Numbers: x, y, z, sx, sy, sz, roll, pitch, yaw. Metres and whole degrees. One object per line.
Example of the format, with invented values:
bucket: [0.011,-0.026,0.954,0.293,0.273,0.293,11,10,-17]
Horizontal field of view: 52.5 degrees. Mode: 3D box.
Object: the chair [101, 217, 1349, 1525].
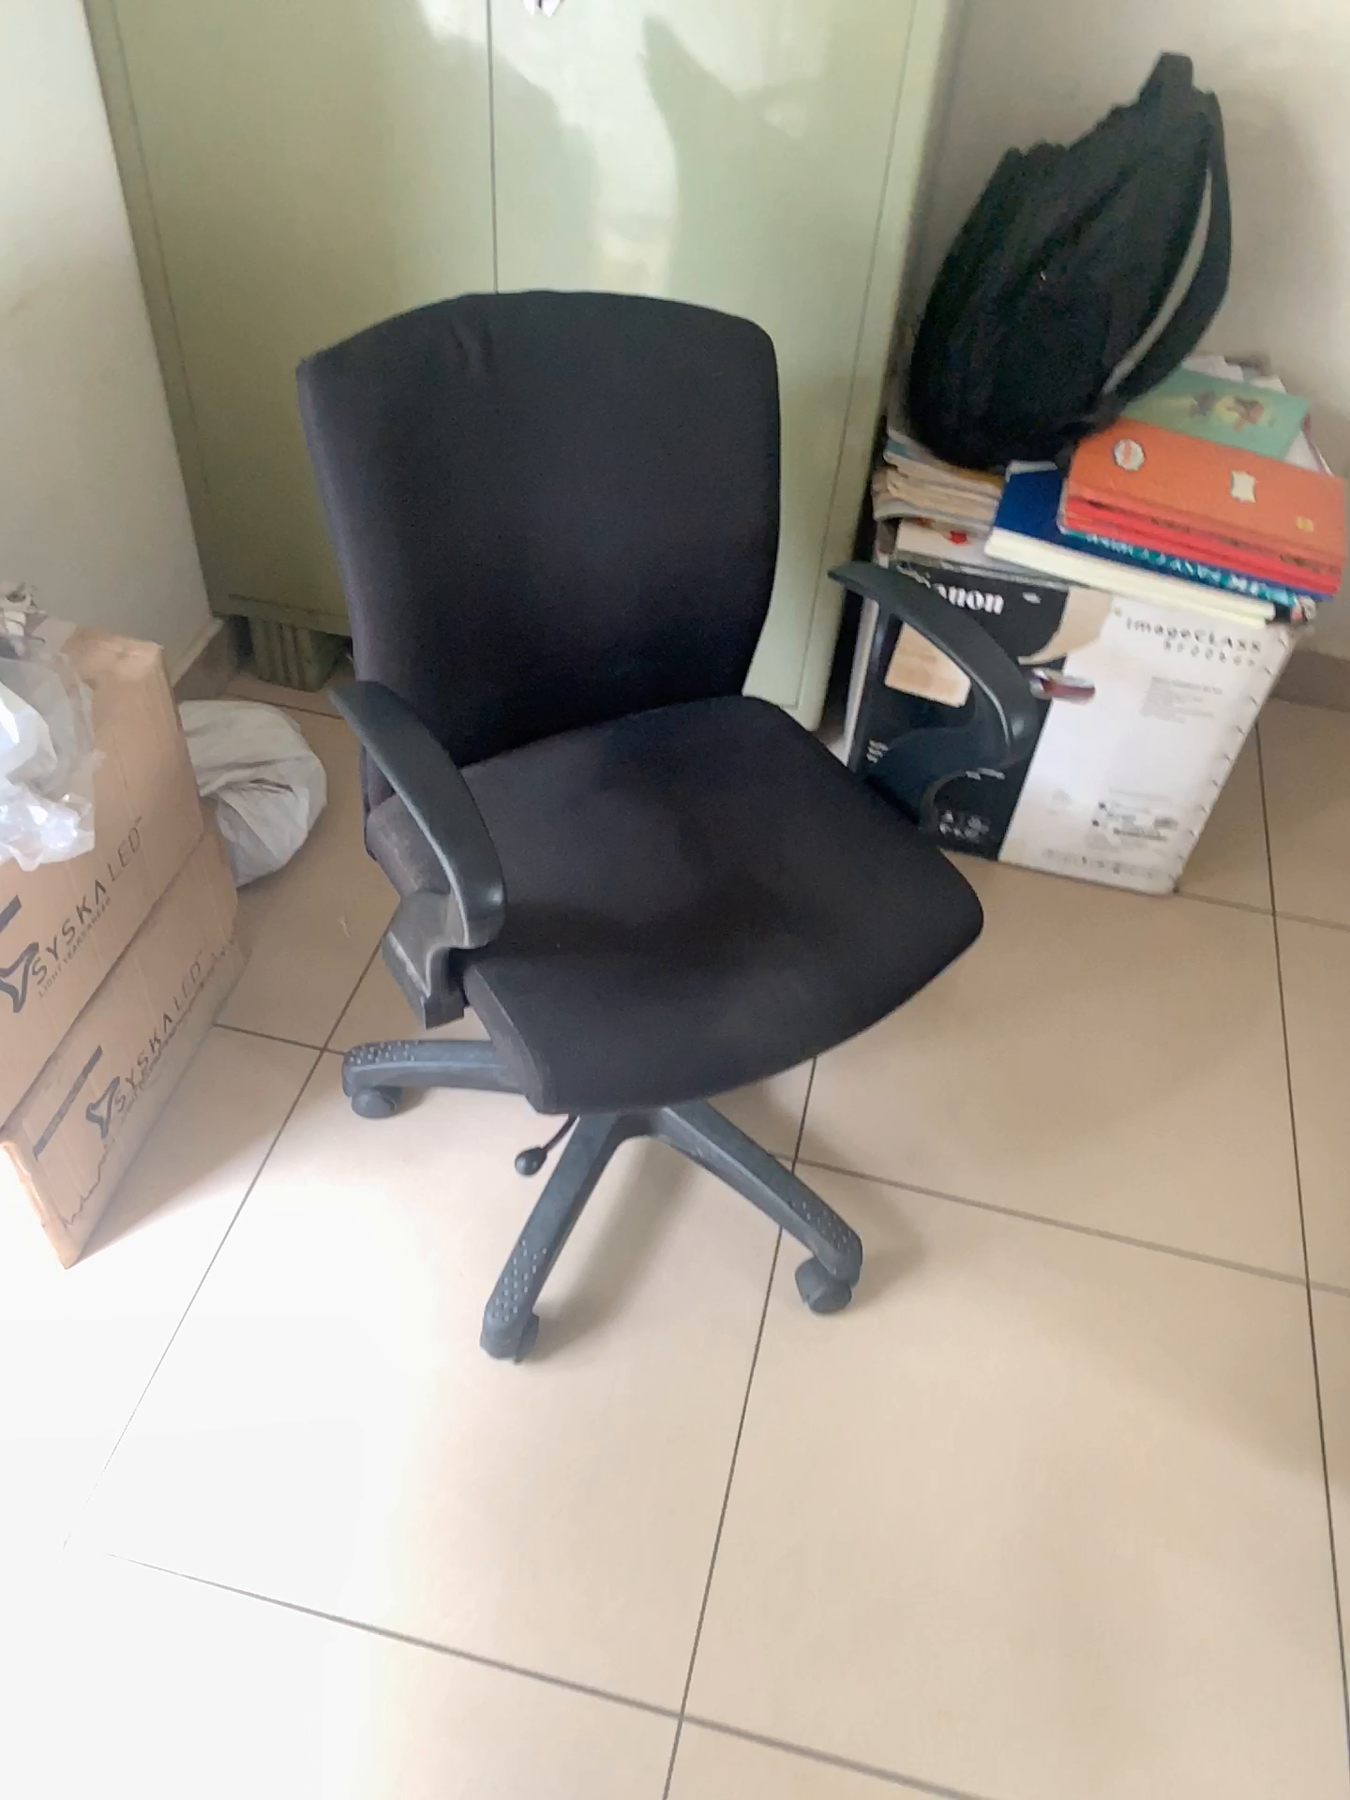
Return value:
chair: [-0.016,-0.031,1.391,0.701,0.927,0.702,-22,52,-24]
